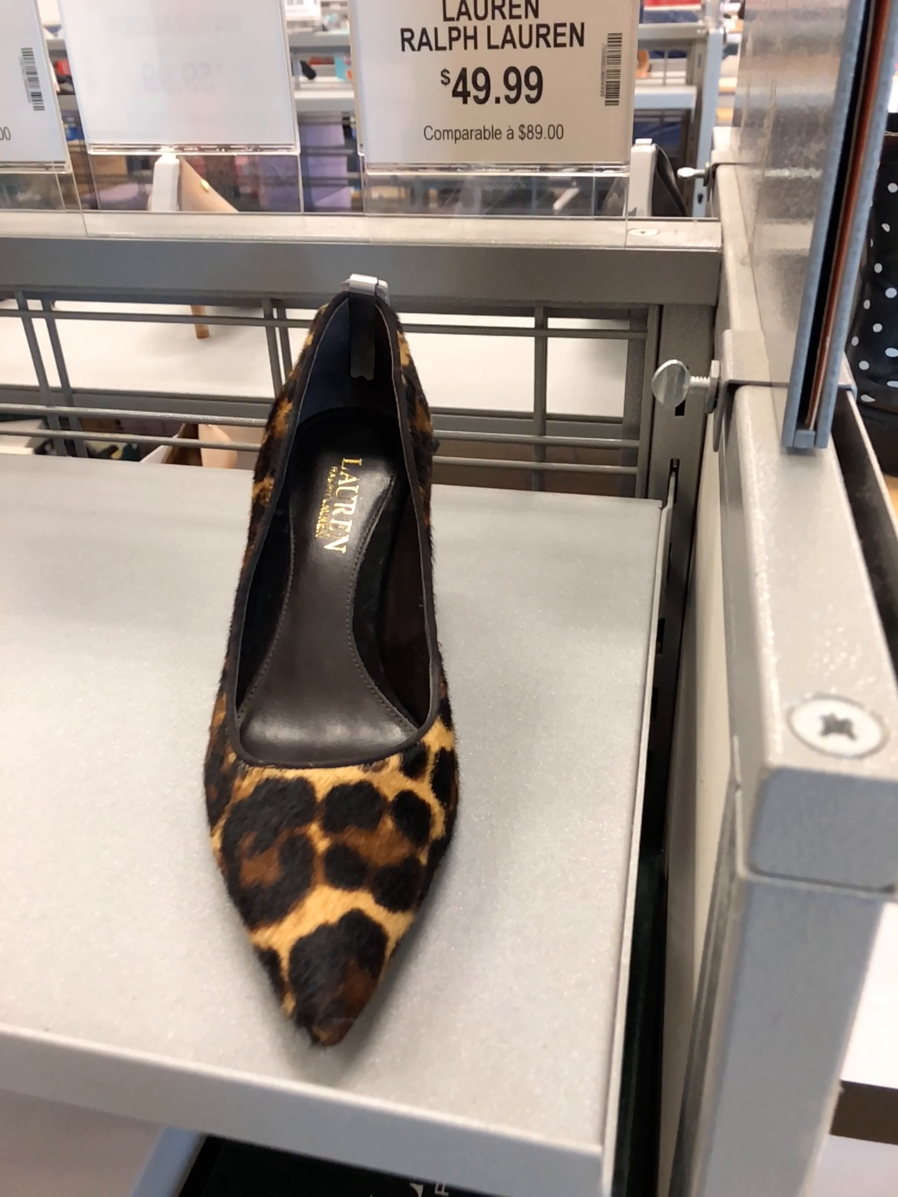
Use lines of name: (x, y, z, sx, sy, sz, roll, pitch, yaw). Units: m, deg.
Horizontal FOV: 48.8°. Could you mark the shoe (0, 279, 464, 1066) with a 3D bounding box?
shoe: (-0.042, -0.007, 0.336, 0.090, 0.129, 0.272, -1, 32, 2)
